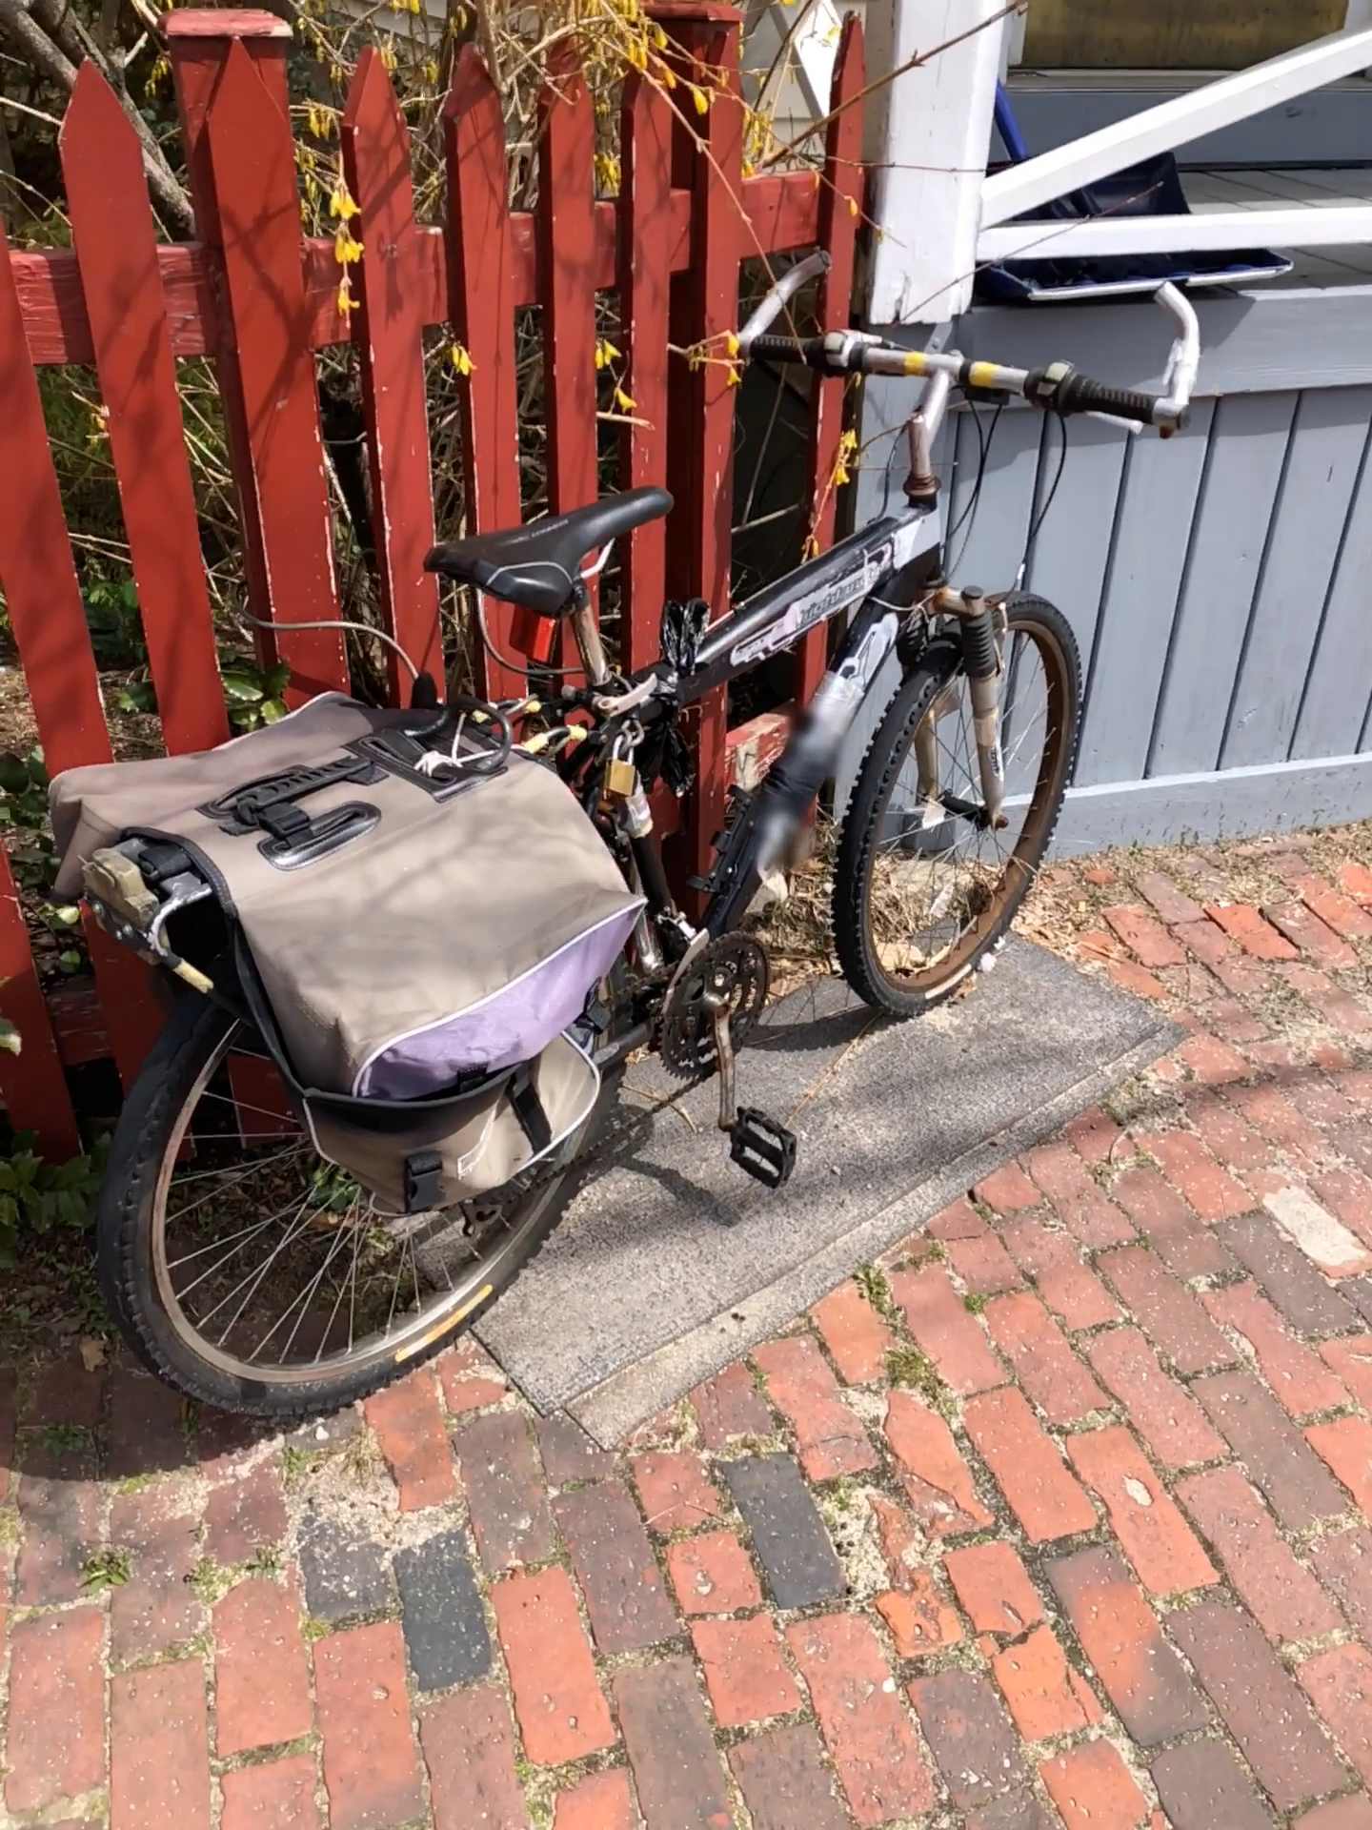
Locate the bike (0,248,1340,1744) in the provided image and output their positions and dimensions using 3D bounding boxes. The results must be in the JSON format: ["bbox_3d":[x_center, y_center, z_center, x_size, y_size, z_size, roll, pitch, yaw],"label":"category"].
[{"bbox_3d":[0.035,-0.135,1.876,0.672,1.000,1.733,26,41,34],"label":"bike"}]
